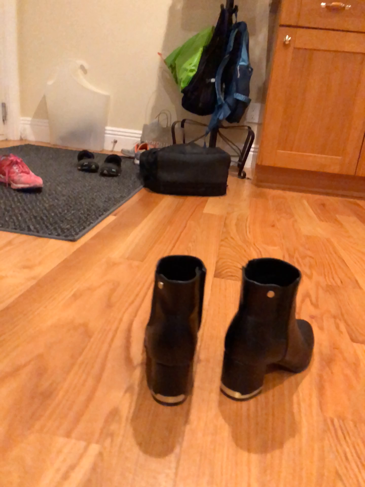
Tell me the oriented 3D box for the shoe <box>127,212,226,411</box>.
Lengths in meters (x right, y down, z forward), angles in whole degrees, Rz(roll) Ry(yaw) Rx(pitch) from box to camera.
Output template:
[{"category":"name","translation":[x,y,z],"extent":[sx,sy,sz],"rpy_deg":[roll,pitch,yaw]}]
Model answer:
[{"category":"shoe","translation":[-0.006,0.075,0.563],"extent":[0.095,0.175,0.237],"rpy_deg":[6,19,0]}]

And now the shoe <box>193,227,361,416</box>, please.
[{"category":"shoe","translation":[0.139,0.090,0.563],"extent":[0.095,0.175,0.237],"rpy_deg":[22,24,40]}]
